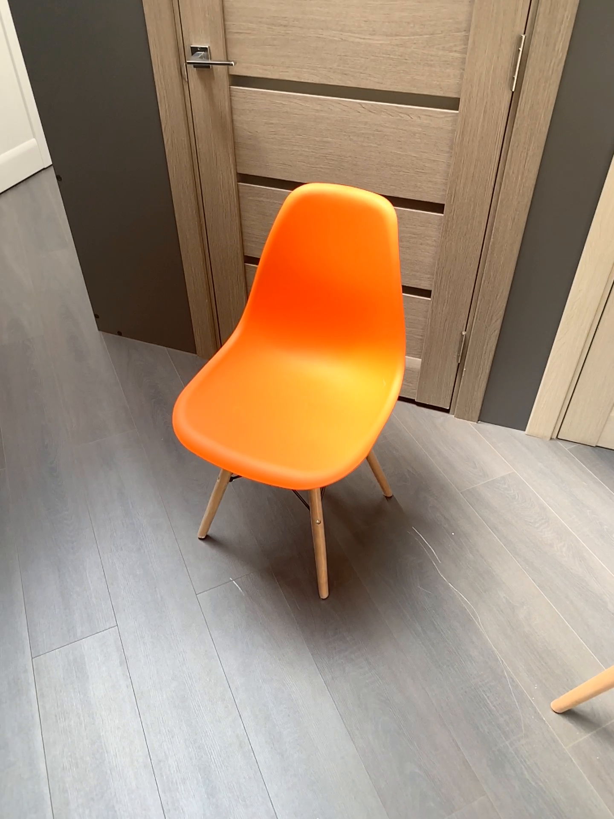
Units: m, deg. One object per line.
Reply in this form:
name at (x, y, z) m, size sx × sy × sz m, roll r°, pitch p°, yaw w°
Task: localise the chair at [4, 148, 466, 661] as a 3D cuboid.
chair at (-0.083, -0.021, 1.228) m, size 0.531 × 0.717 × 0.522 m, roll 19°, pitch 45°, yaw 21°
